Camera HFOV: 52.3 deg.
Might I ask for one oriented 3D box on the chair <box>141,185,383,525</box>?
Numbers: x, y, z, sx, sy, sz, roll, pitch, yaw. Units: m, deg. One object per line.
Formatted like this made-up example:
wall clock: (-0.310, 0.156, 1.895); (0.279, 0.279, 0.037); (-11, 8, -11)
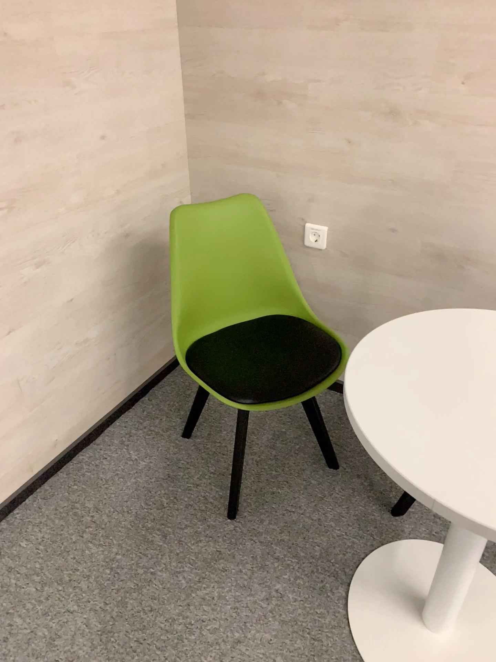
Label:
chair: (0.025, 0.062, 1.625); (0.491, 0.865, 0.482); (-17, 36, -24)
